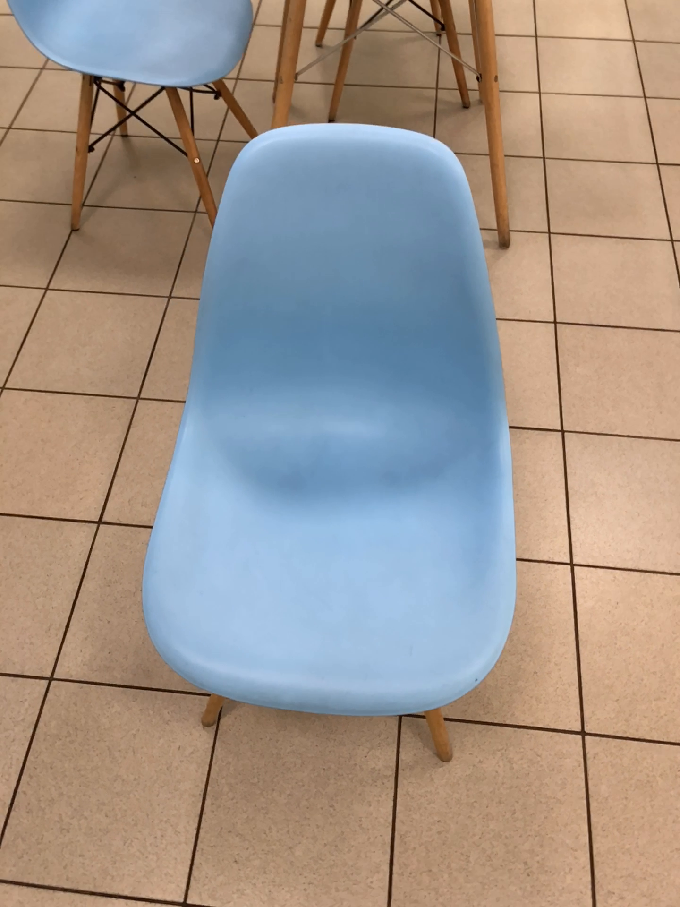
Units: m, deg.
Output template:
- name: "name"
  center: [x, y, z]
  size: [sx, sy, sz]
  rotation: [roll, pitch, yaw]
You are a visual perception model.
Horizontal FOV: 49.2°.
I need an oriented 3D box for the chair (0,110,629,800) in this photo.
- name: "chair"
  center: [0.000, 0.076, 1.008]
  size: [0.470, 0.777, 0.572]
  rotation: [5, 58, 4]
